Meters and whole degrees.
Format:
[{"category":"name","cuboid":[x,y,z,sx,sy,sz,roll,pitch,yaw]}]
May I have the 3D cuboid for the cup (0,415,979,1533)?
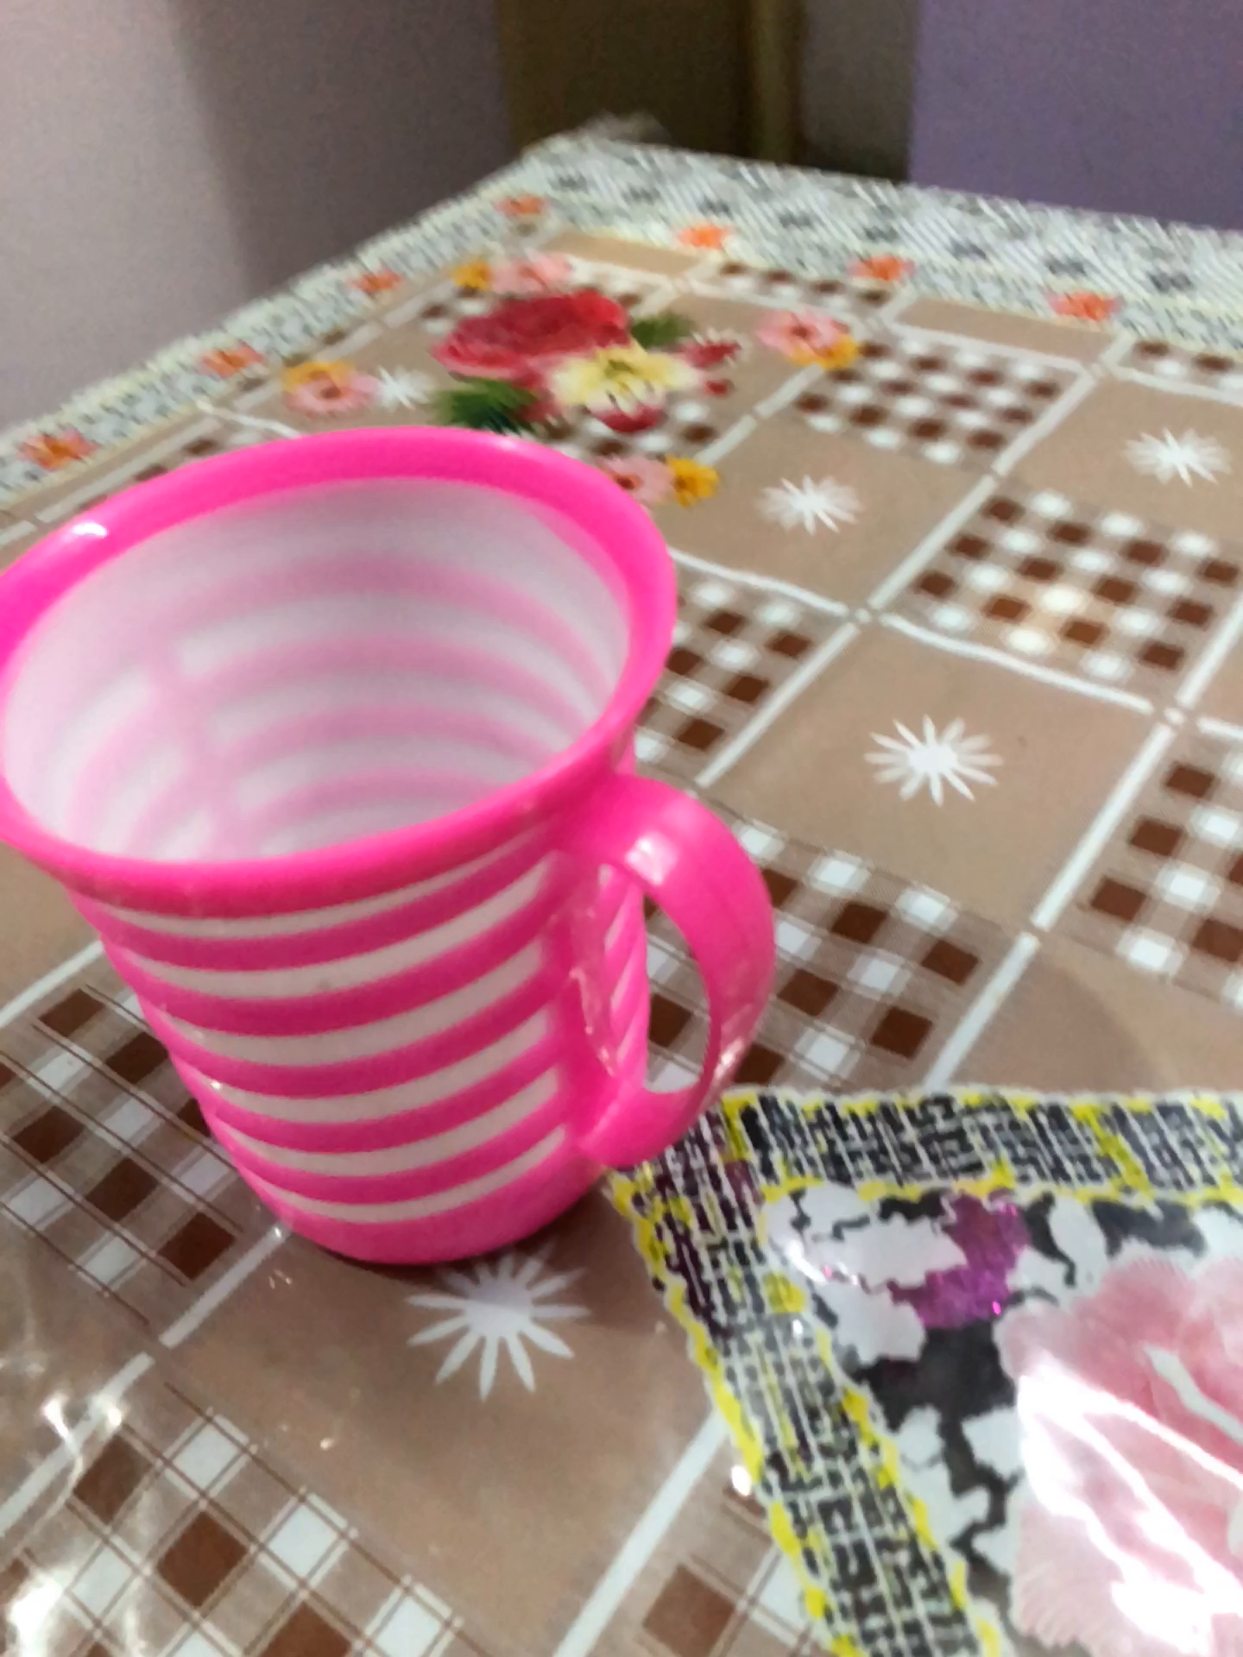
[{"category":"cup","cuboid":[-0.022,0.013,0.178,0.110,0.089,0.081,13,46,19]}]
